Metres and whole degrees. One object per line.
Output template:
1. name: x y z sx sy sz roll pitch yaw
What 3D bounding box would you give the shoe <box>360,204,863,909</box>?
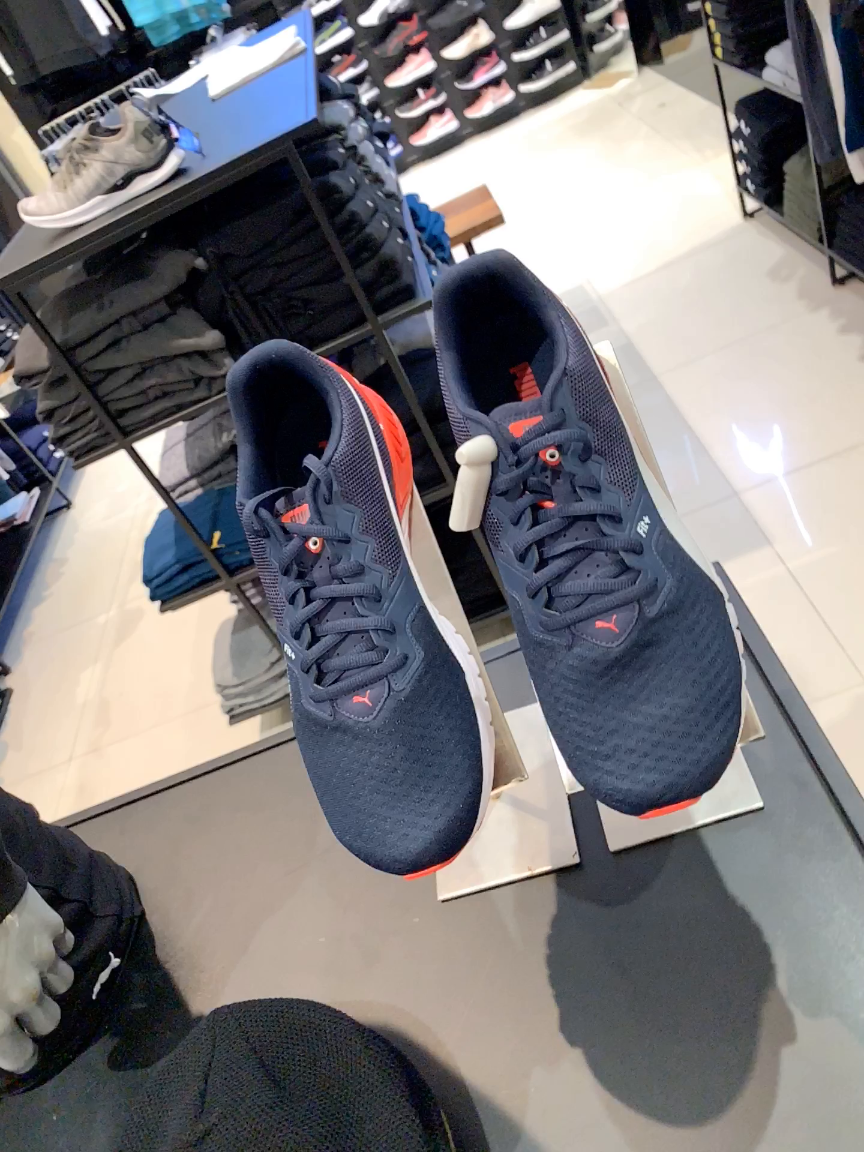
1. shoe: 0.067 -0.011 0.372 0.100 0.099 0.262 -23 63 8

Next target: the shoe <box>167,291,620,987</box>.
1. shoe: -0.023 0.018 0.365 0.100 0.079 0.252 -23 63 8
